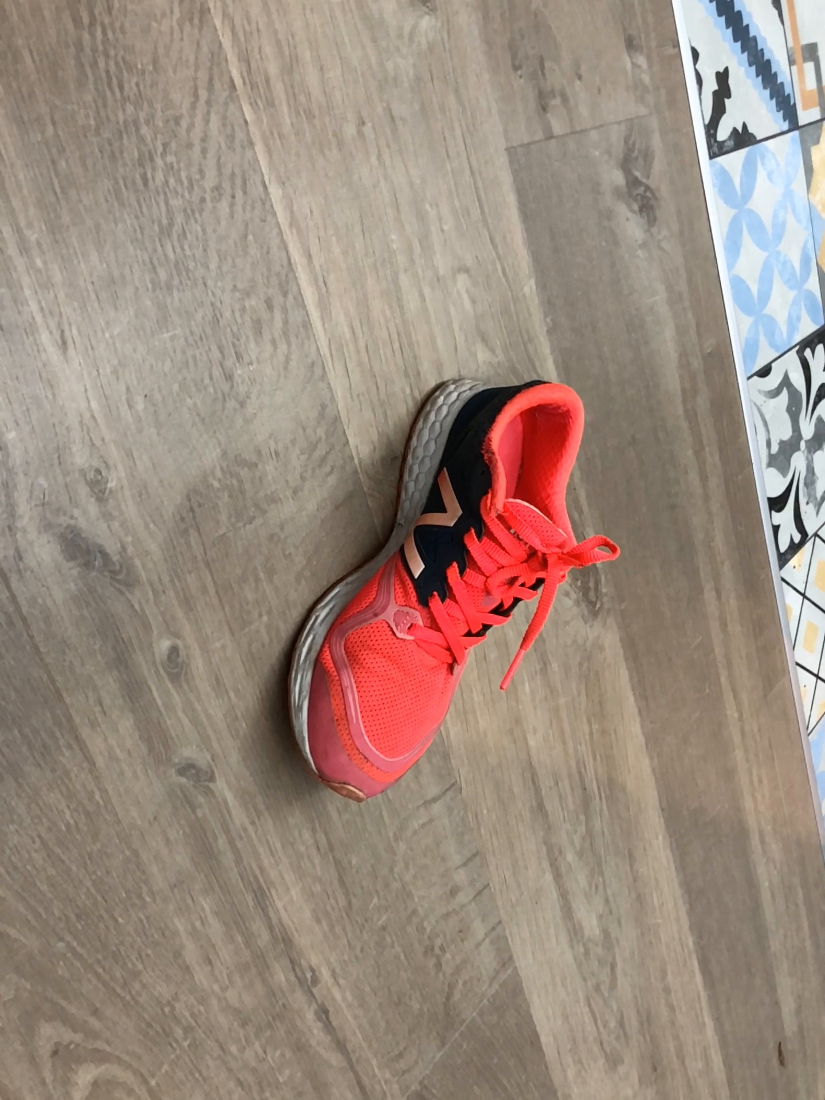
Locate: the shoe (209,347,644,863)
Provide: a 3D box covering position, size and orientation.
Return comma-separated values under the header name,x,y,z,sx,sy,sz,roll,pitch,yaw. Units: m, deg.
name,x,y,z,sx,sy,sz,roll,pitch,yaw
shoe,0.016,0.021,0.490,0.100,0.109,0.241,44,63,-36
